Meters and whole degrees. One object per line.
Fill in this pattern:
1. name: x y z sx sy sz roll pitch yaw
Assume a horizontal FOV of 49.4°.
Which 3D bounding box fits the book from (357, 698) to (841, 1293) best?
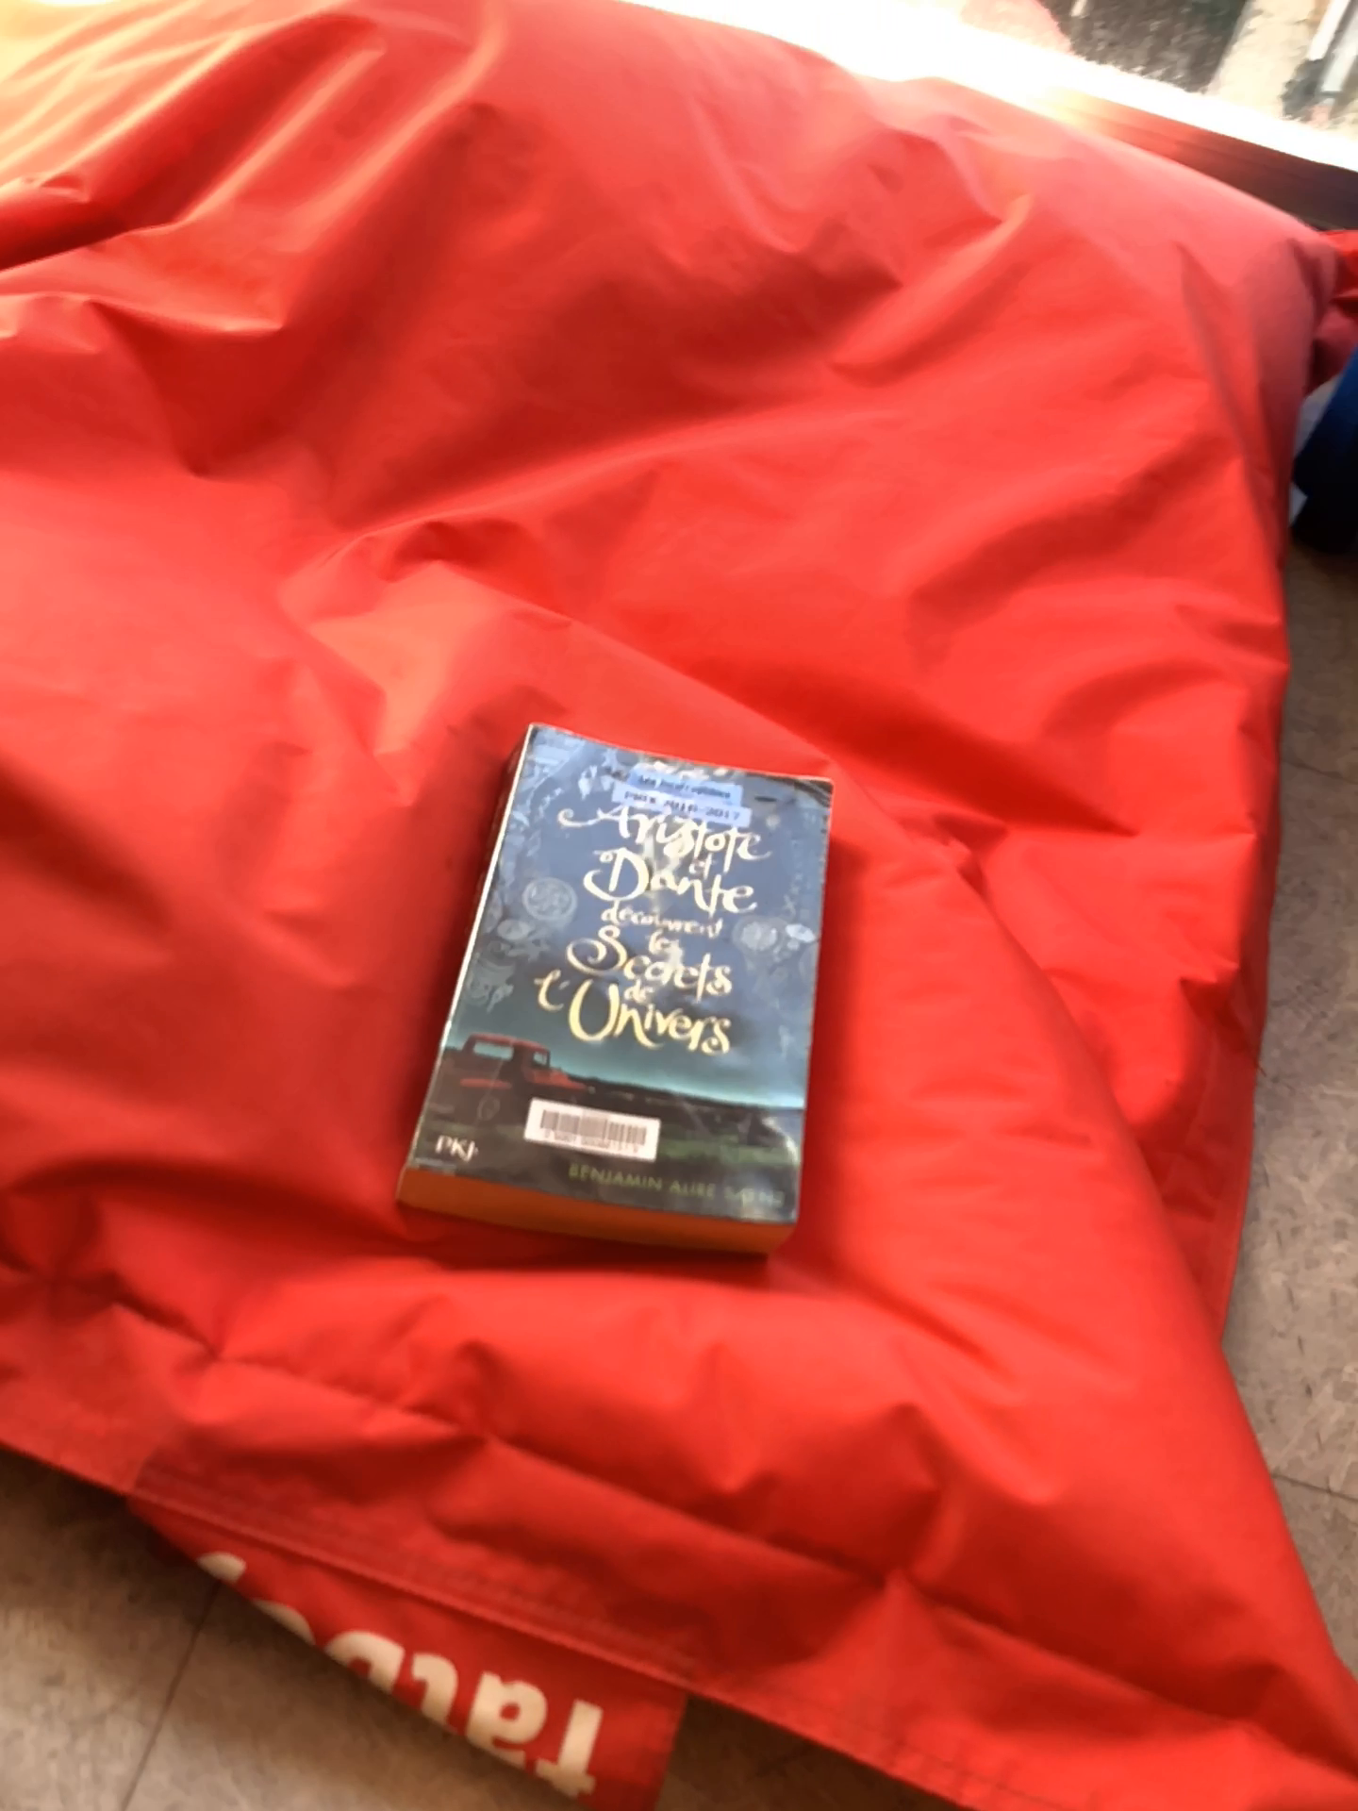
1. book: -0.022 0.025 0.590 0.148 0.048 0.230 10 51 1
